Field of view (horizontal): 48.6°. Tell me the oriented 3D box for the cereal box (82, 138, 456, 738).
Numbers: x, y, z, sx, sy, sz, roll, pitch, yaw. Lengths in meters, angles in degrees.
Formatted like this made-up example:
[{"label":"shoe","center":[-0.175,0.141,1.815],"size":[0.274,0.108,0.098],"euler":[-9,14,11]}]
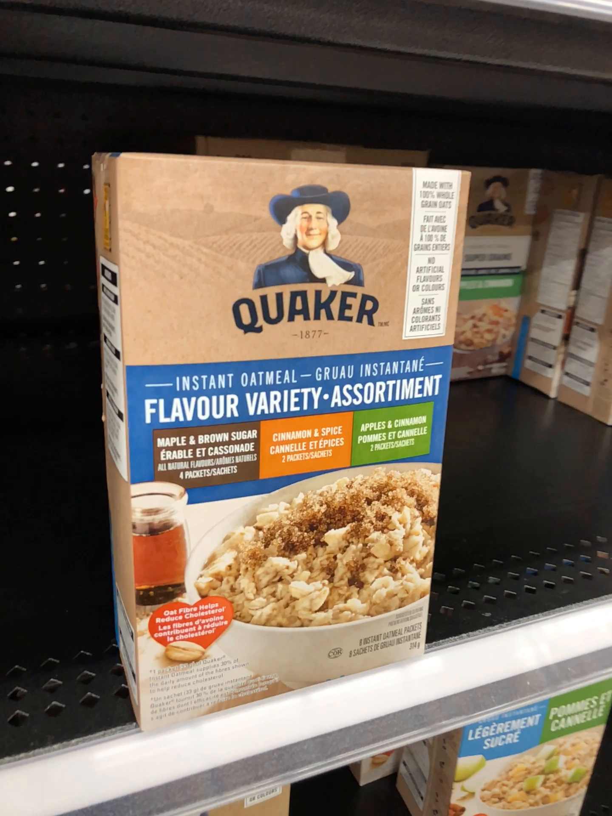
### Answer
[{"label":"cereal box","center":[-0.017,0.008,0.273],"size":[0.120,0.209,0.060],"euler":[-6,19,-24]}]
